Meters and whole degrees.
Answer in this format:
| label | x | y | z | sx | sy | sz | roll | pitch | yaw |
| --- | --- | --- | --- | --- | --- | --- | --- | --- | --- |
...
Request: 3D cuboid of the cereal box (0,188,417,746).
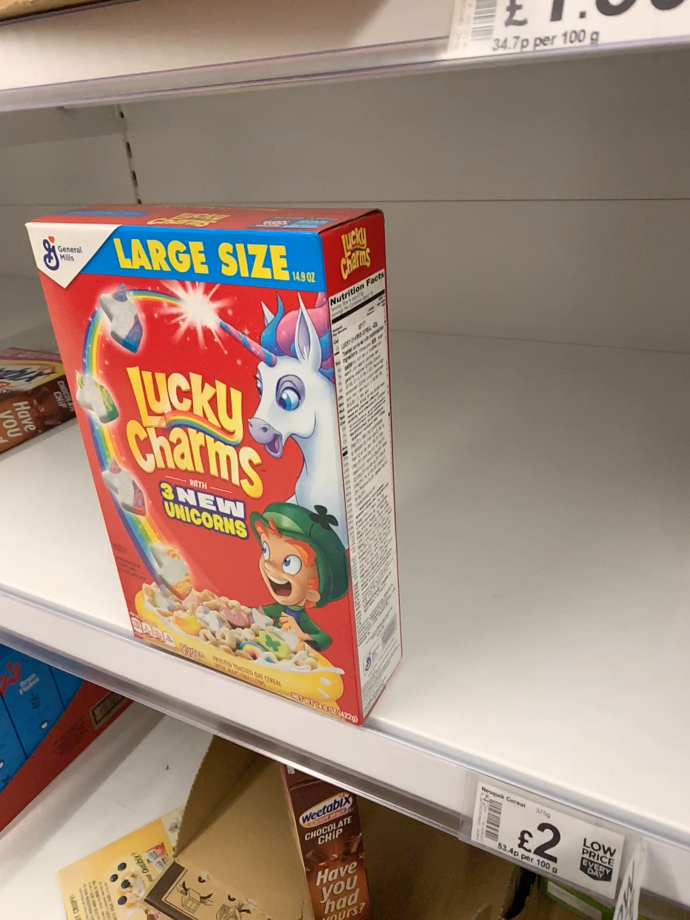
| label | x | y | z | sx | sy | sz | roll | pitch | yaw |
| --- | --- | --- | --- | --- | --- | --- | --- | --- | --- |
| cereal box | -0.074 | 0.000 | 0.414 | 0.210 | 0.287 | 0.070 | 11 | 31 | 29 |
